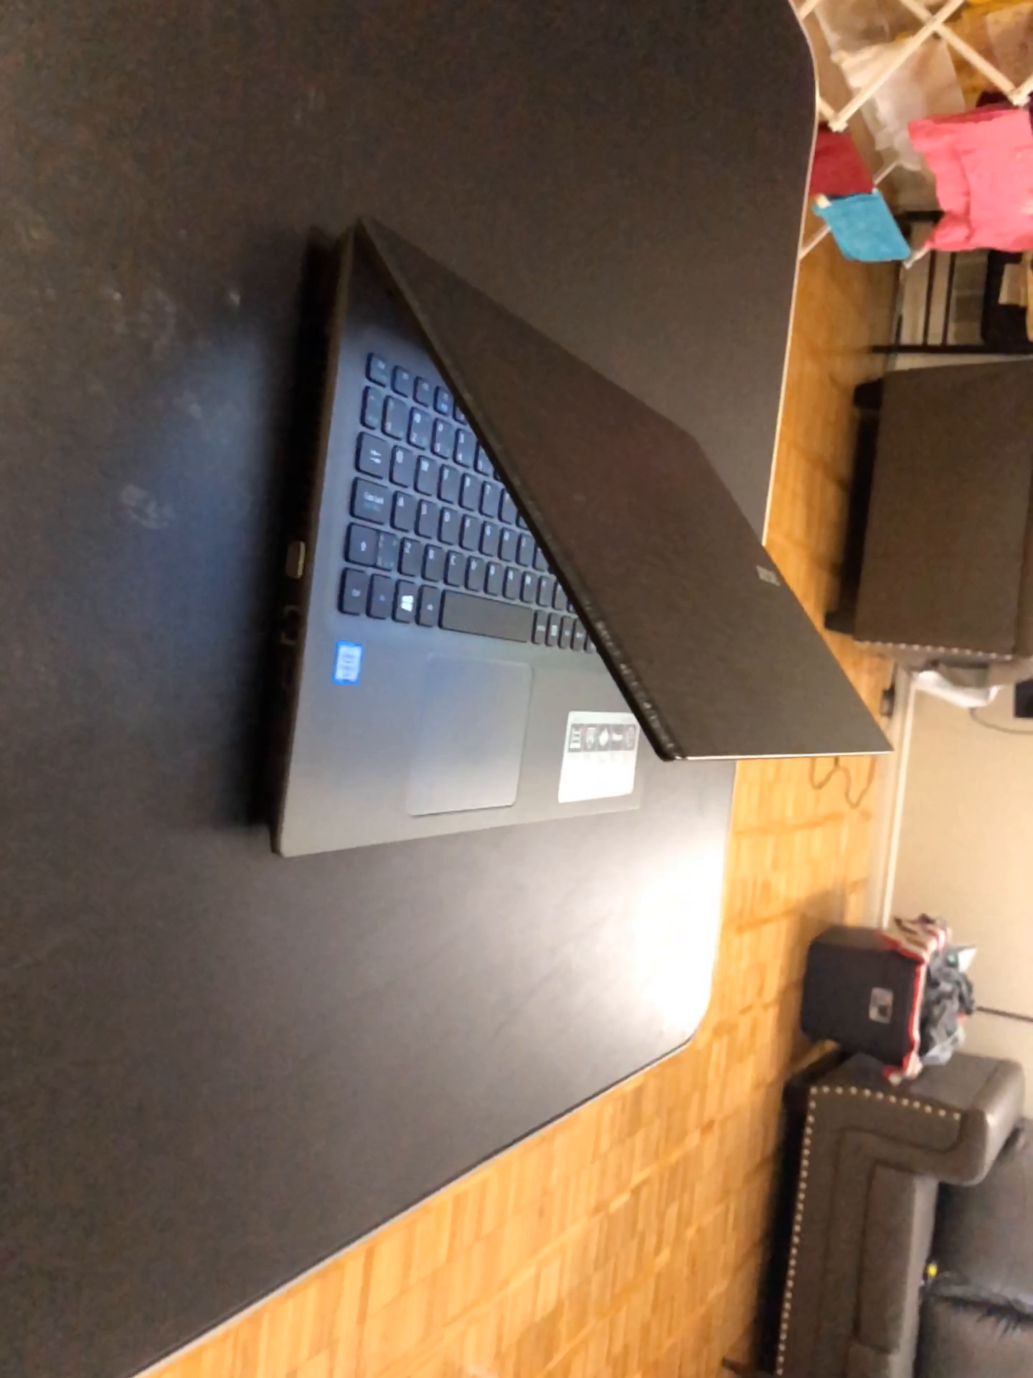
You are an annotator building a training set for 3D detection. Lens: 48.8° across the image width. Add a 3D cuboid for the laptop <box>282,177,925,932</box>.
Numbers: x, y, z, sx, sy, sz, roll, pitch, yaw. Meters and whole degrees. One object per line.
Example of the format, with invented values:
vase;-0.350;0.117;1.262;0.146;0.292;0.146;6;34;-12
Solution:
laptop;0.078;-0.044;0.577;0.371;0.155;0.251;5;93;-61
